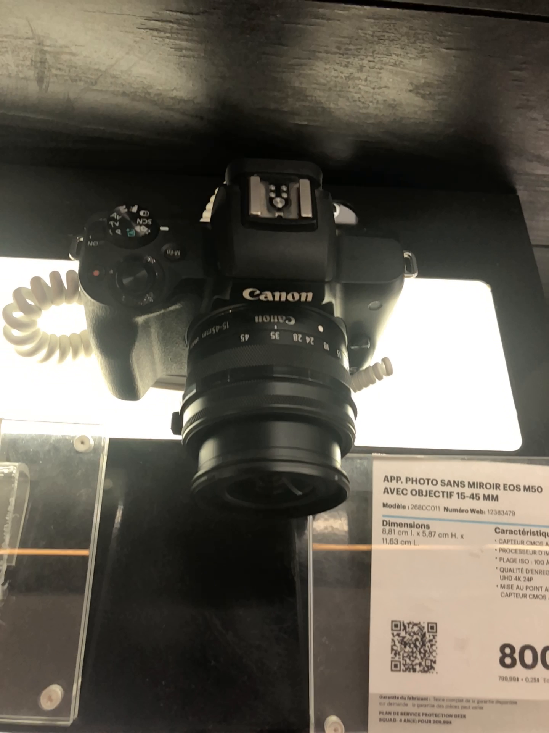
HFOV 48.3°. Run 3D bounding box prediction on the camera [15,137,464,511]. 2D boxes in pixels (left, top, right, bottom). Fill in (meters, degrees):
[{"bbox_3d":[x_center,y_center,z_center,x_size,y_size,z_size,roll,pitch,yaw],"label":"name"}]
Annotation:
[{"bbox_3d":[-0.012,-0.011,0.226,0.119,0.089,0.101,2,58,-4],"label":"camera"}]
